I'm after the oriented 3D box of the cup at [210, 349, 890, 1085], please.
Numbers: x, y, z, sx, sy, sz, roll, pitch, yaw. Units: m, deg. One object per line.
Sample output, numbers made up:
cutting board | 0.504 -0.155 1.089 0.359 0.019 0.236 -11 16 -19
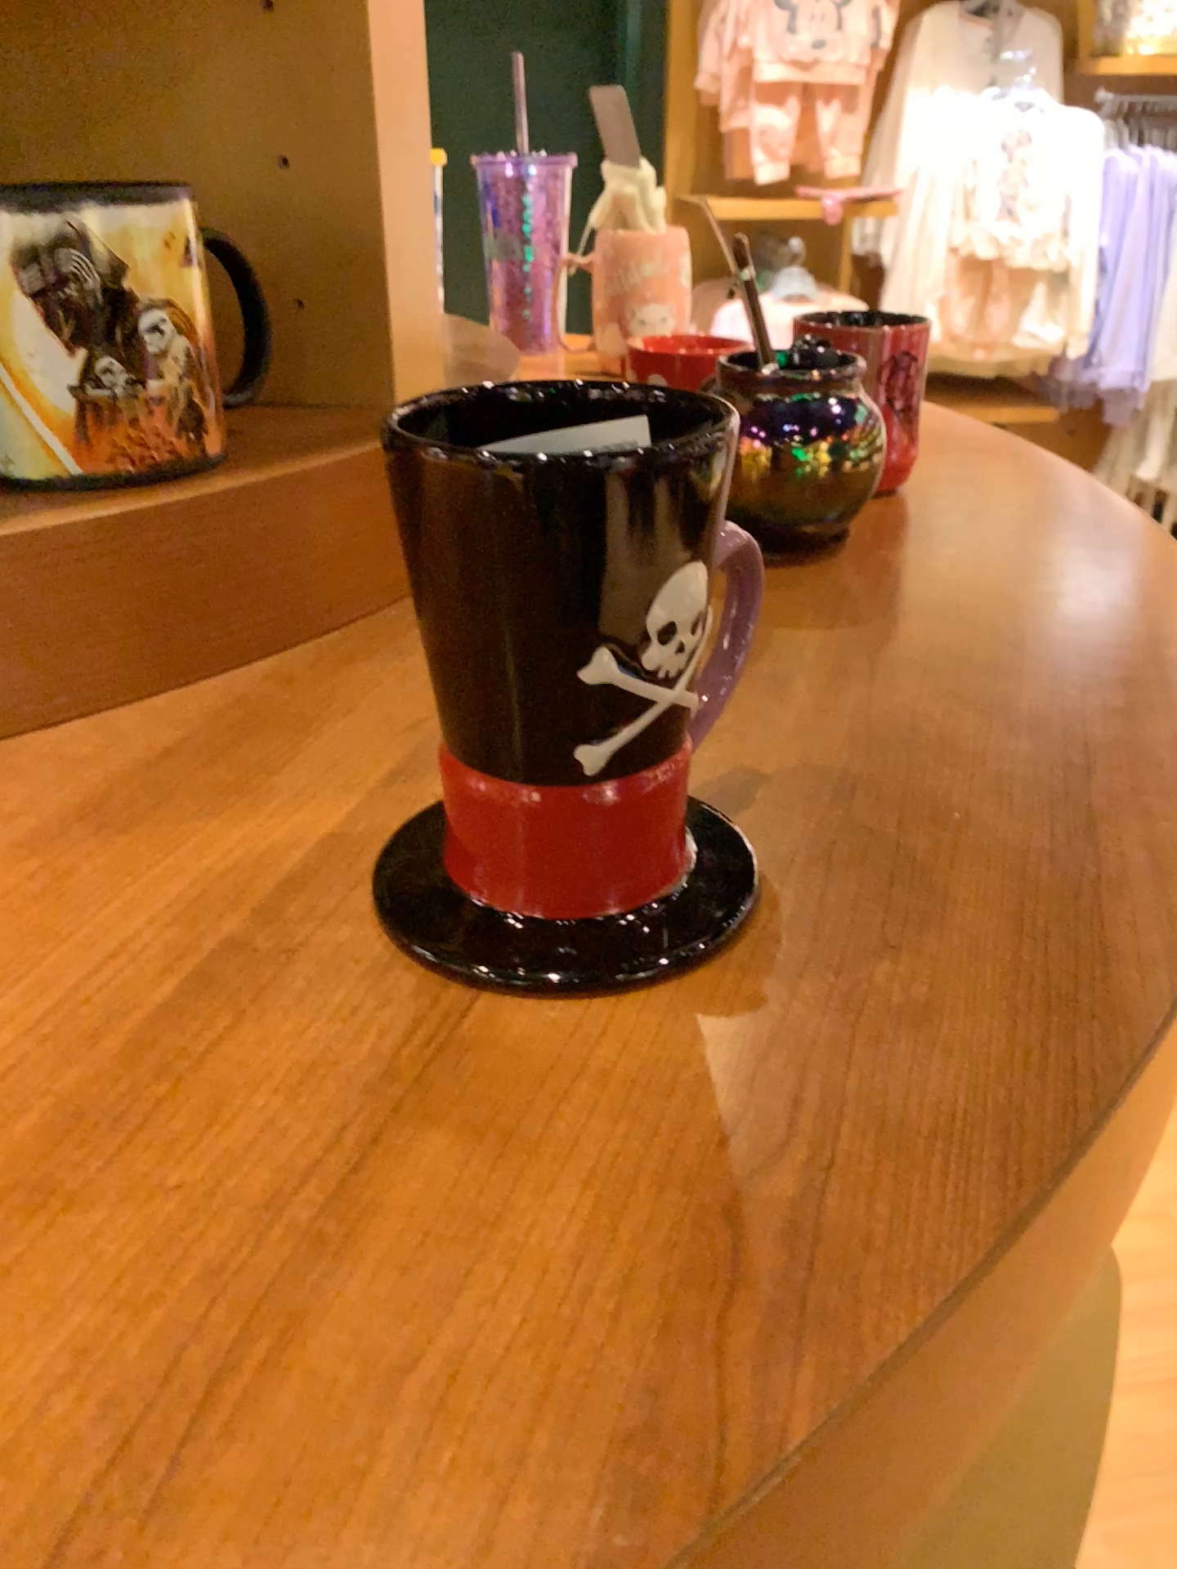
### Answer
cup | -0.006 -0.032 0.337 0.110 0.144 0.134 22 35 35
